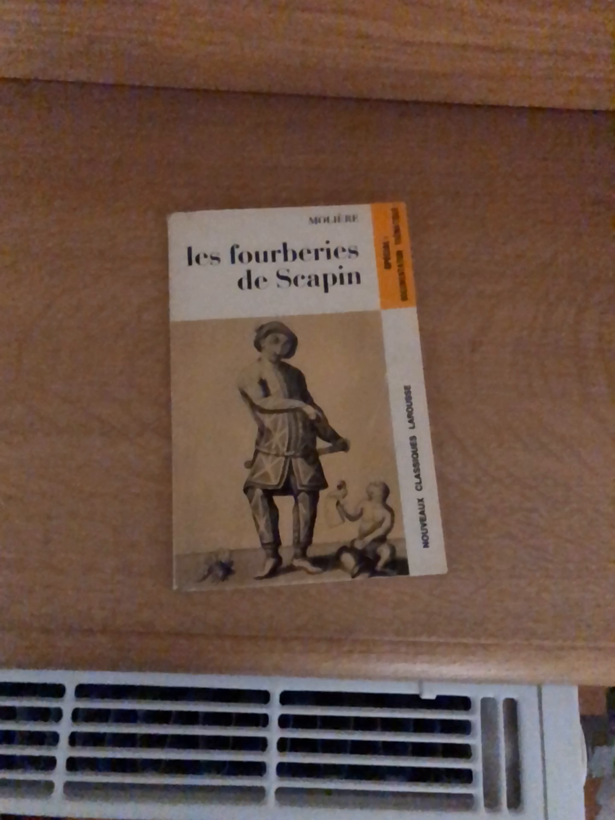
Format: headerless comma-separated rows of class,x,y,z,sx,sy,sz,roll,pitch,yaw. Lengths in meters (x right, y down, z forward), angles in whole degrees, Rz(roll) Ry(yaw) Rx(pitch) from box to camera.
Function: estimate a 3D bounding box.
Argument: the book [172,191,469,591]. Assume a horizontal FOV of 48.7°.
book,0.001,-0.014,0.302,0.117,0.015,0.174,-3,75,-3
